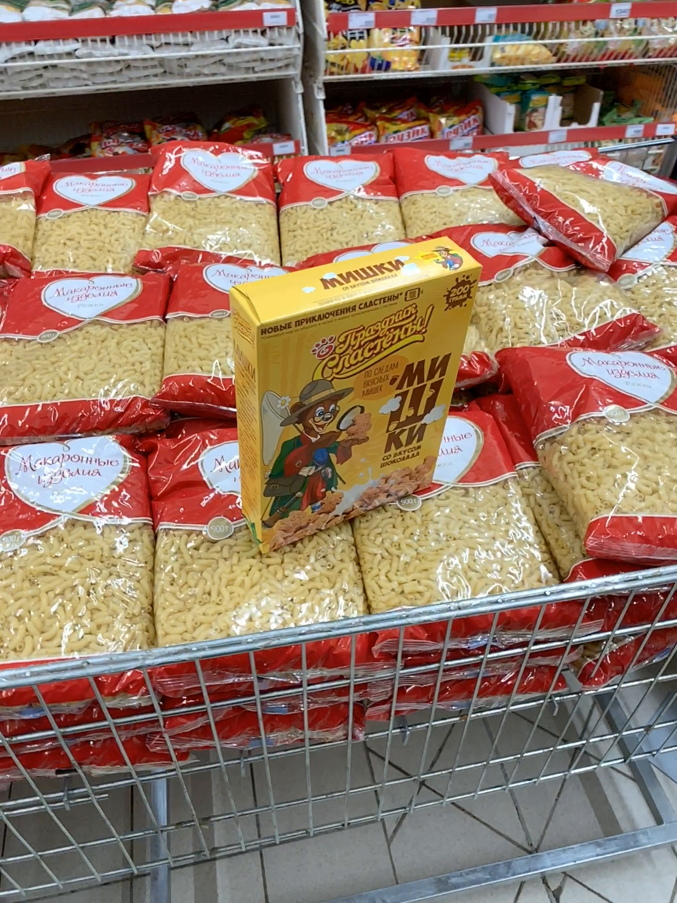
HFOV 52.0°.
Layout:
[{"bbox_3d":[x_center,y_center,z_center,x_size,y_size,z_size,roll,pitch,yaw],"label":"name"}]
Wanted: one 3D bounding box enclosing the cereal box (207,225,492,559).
[{"bbox_3d":[0.003,-0.035,0.500,0.170,0.218,0.050,-20,52,-21],"label":"cereal box"}]
